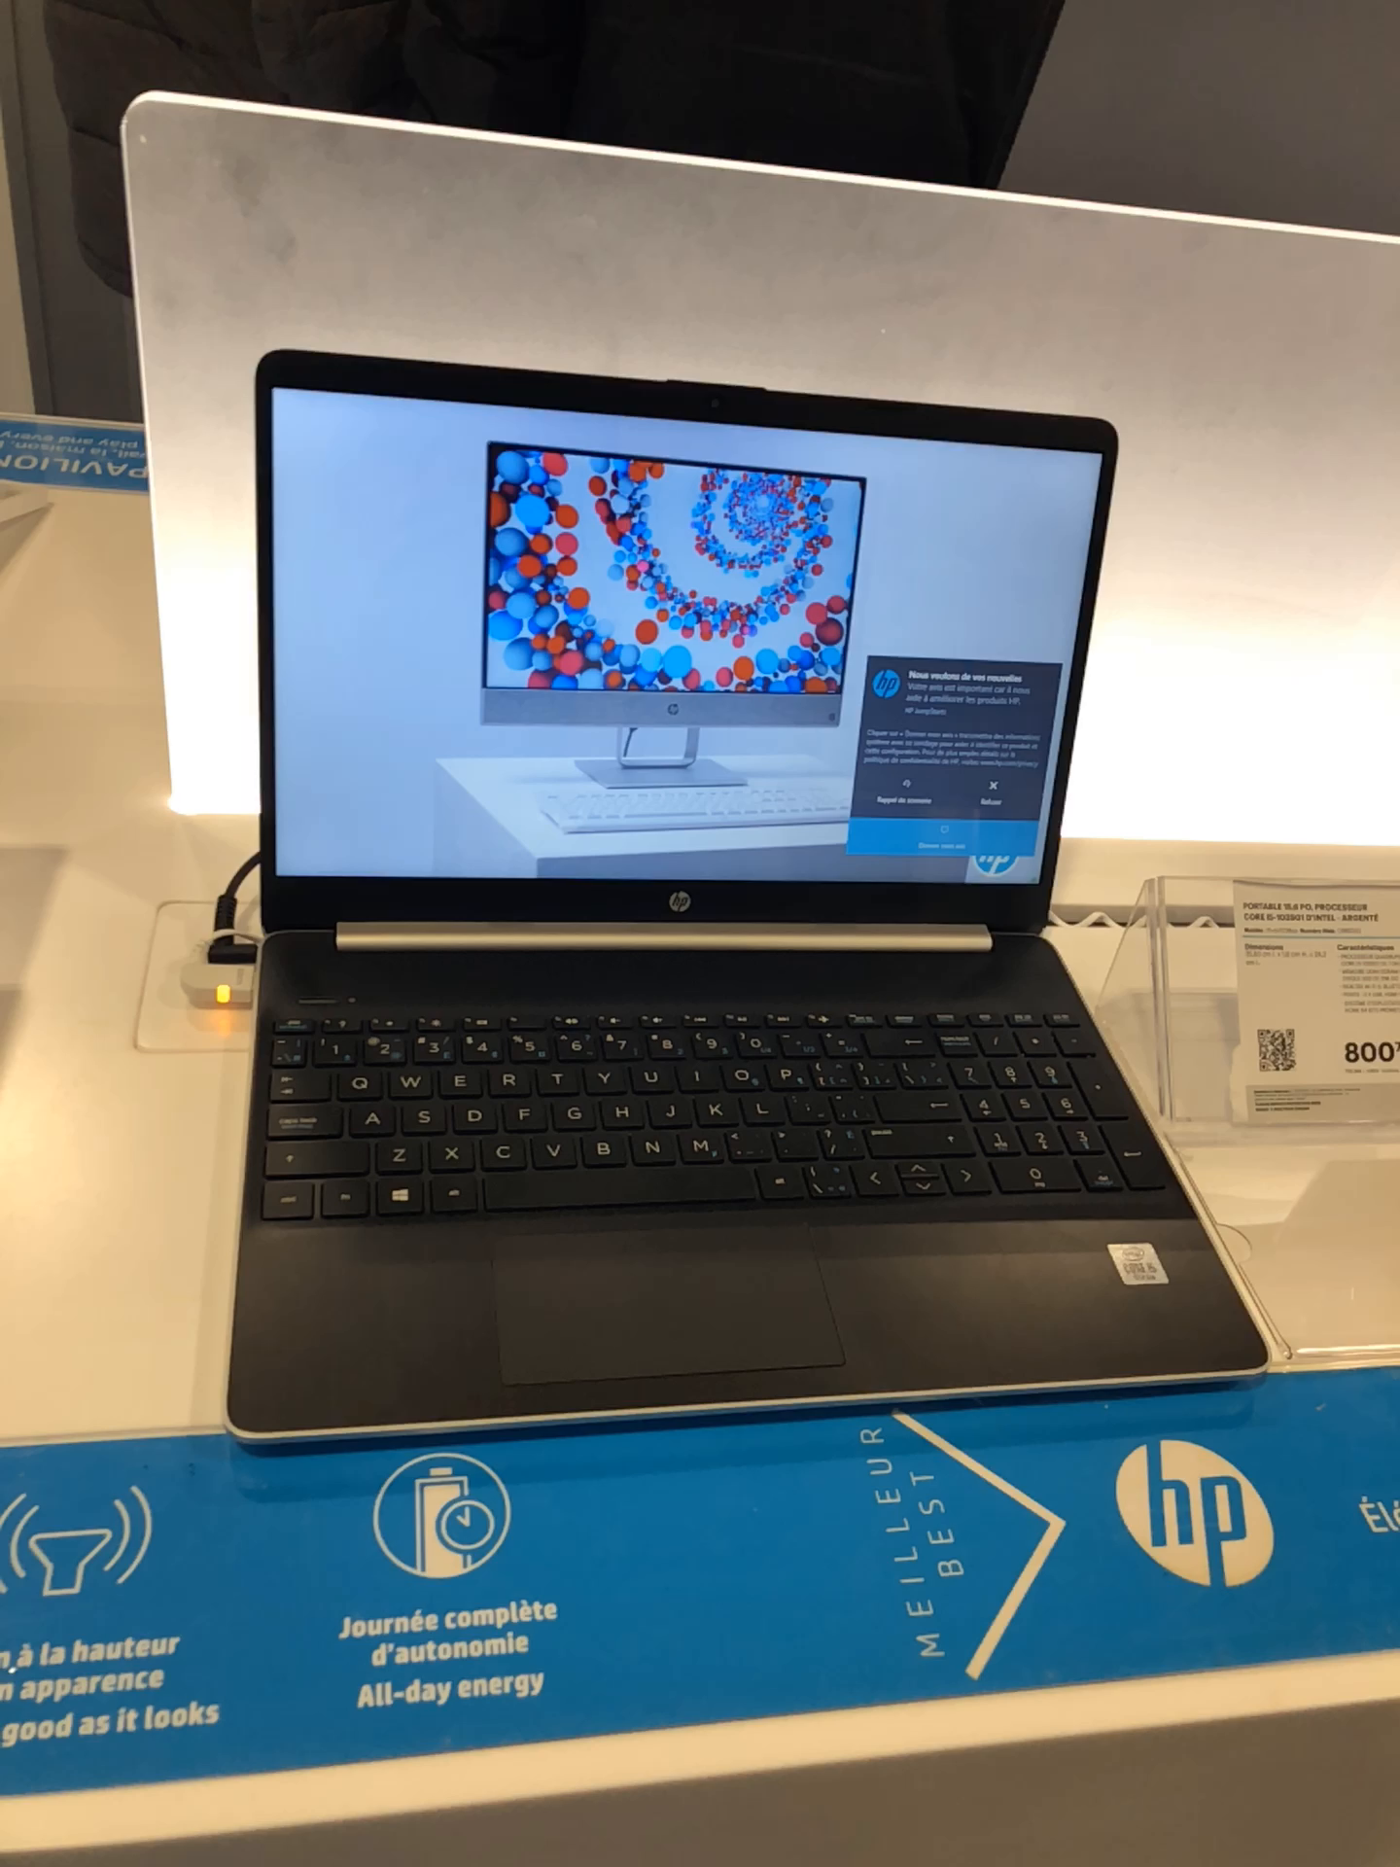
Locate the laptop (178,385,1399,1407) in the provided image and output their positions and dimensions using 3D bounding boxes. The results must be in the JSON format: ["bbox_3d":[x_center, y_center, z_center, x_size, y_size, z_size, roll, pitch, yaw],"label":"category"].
[{"bbox_3d":[0.015,-0.032,0.548,0.336,0.206,0.317,1,36,-12],"label":"laptop"}]
